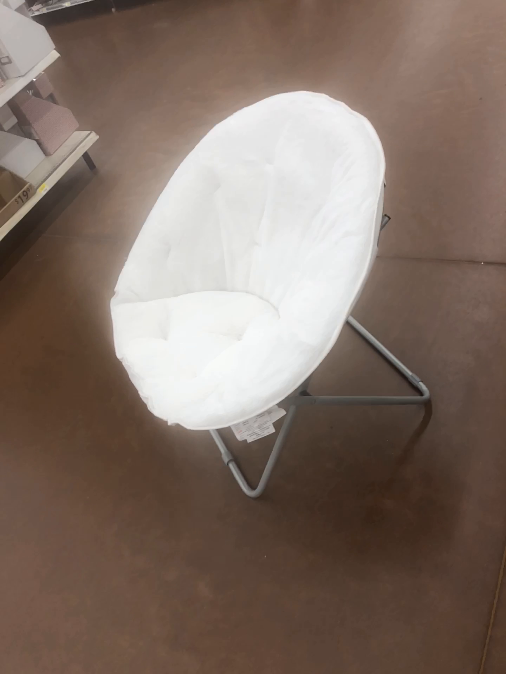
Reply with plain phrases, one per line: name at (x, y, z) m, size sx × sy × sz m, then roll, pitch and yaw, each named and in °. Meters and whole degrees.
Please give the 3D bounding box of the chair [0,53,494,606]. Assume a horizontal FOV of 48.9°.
chair at (-0.053, -0.061, 1.242) m, size 0.750 × 0.648 × 0.763 m, roll -33°, pitch 44°, yaw -6°
